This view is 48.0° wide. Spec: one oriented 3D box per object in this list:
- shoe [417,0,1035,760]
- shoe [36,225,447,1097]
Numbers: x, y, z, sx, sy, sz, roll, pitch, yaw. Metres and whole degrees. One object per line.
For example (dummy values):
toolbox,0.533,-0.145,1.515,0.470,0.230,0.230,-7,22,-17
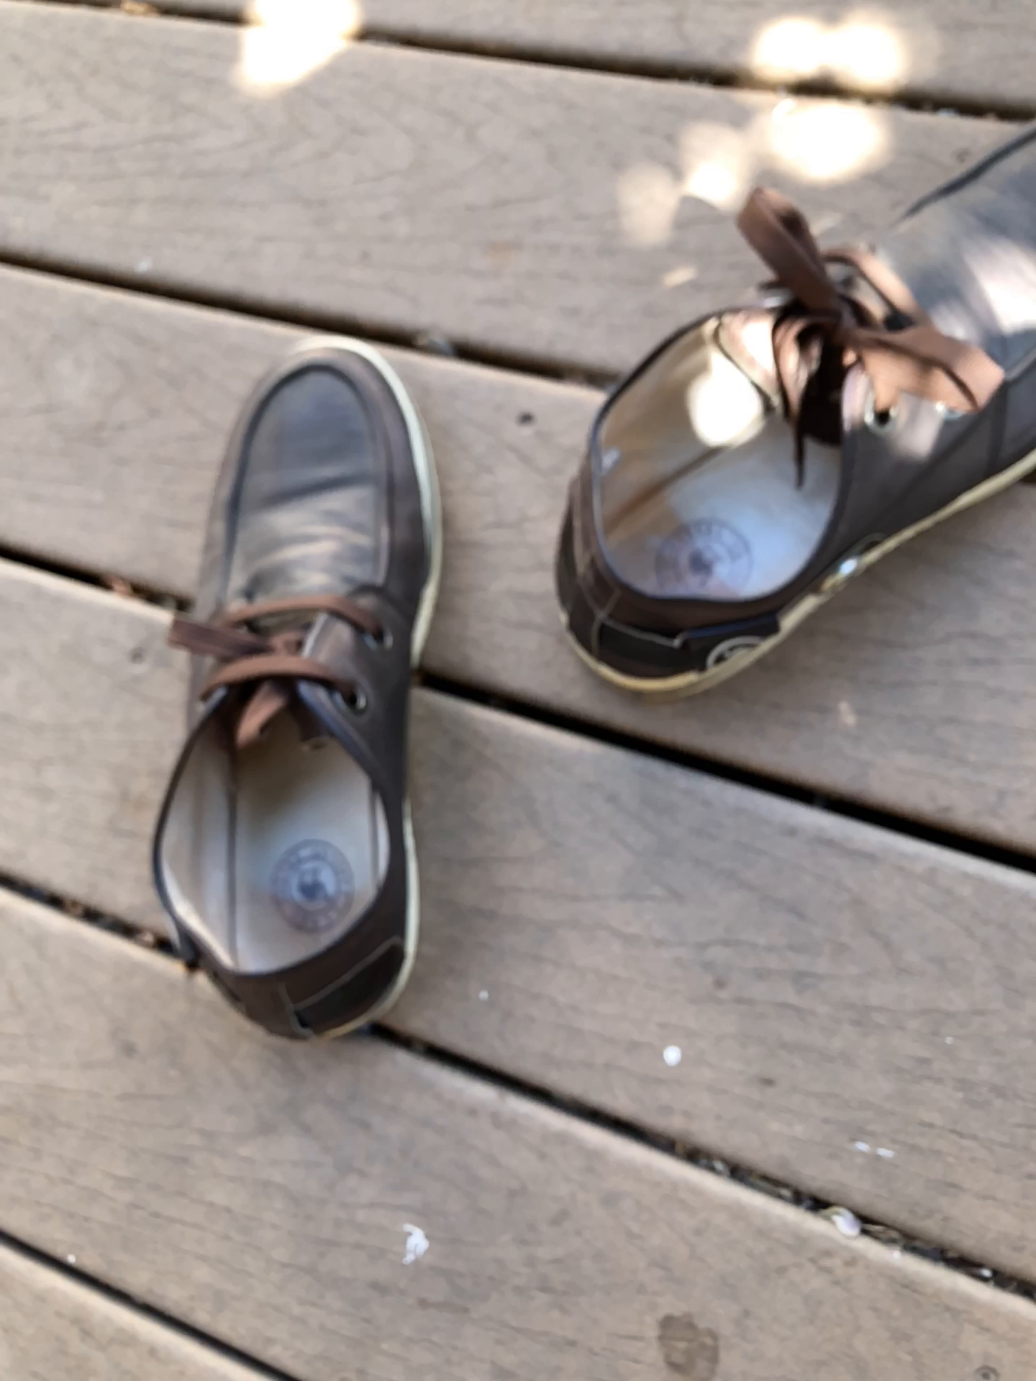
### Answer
shoe,0.131,-0.114,0.423,0.303,0.116,0.110,-37,74,6
shoe,-0.099,-0.007,0.463,0.110,0.116,0.302,-3,80,13
